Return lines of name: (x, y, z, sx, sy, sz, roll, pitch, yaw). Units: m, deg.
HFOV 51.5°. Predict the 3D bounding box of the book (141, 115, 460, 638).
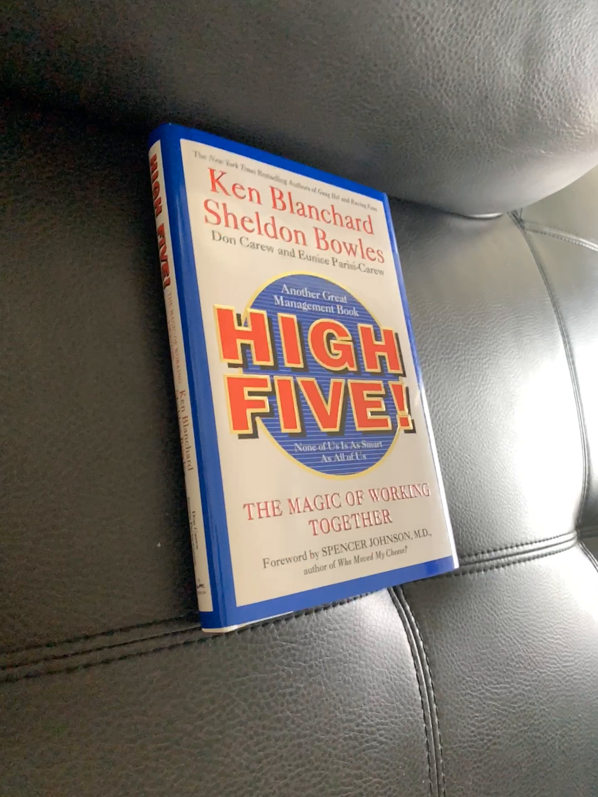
book: (0.006, -0.014, 0.309, 0.151, 0.023, 0.220, 1, 76, -41)
